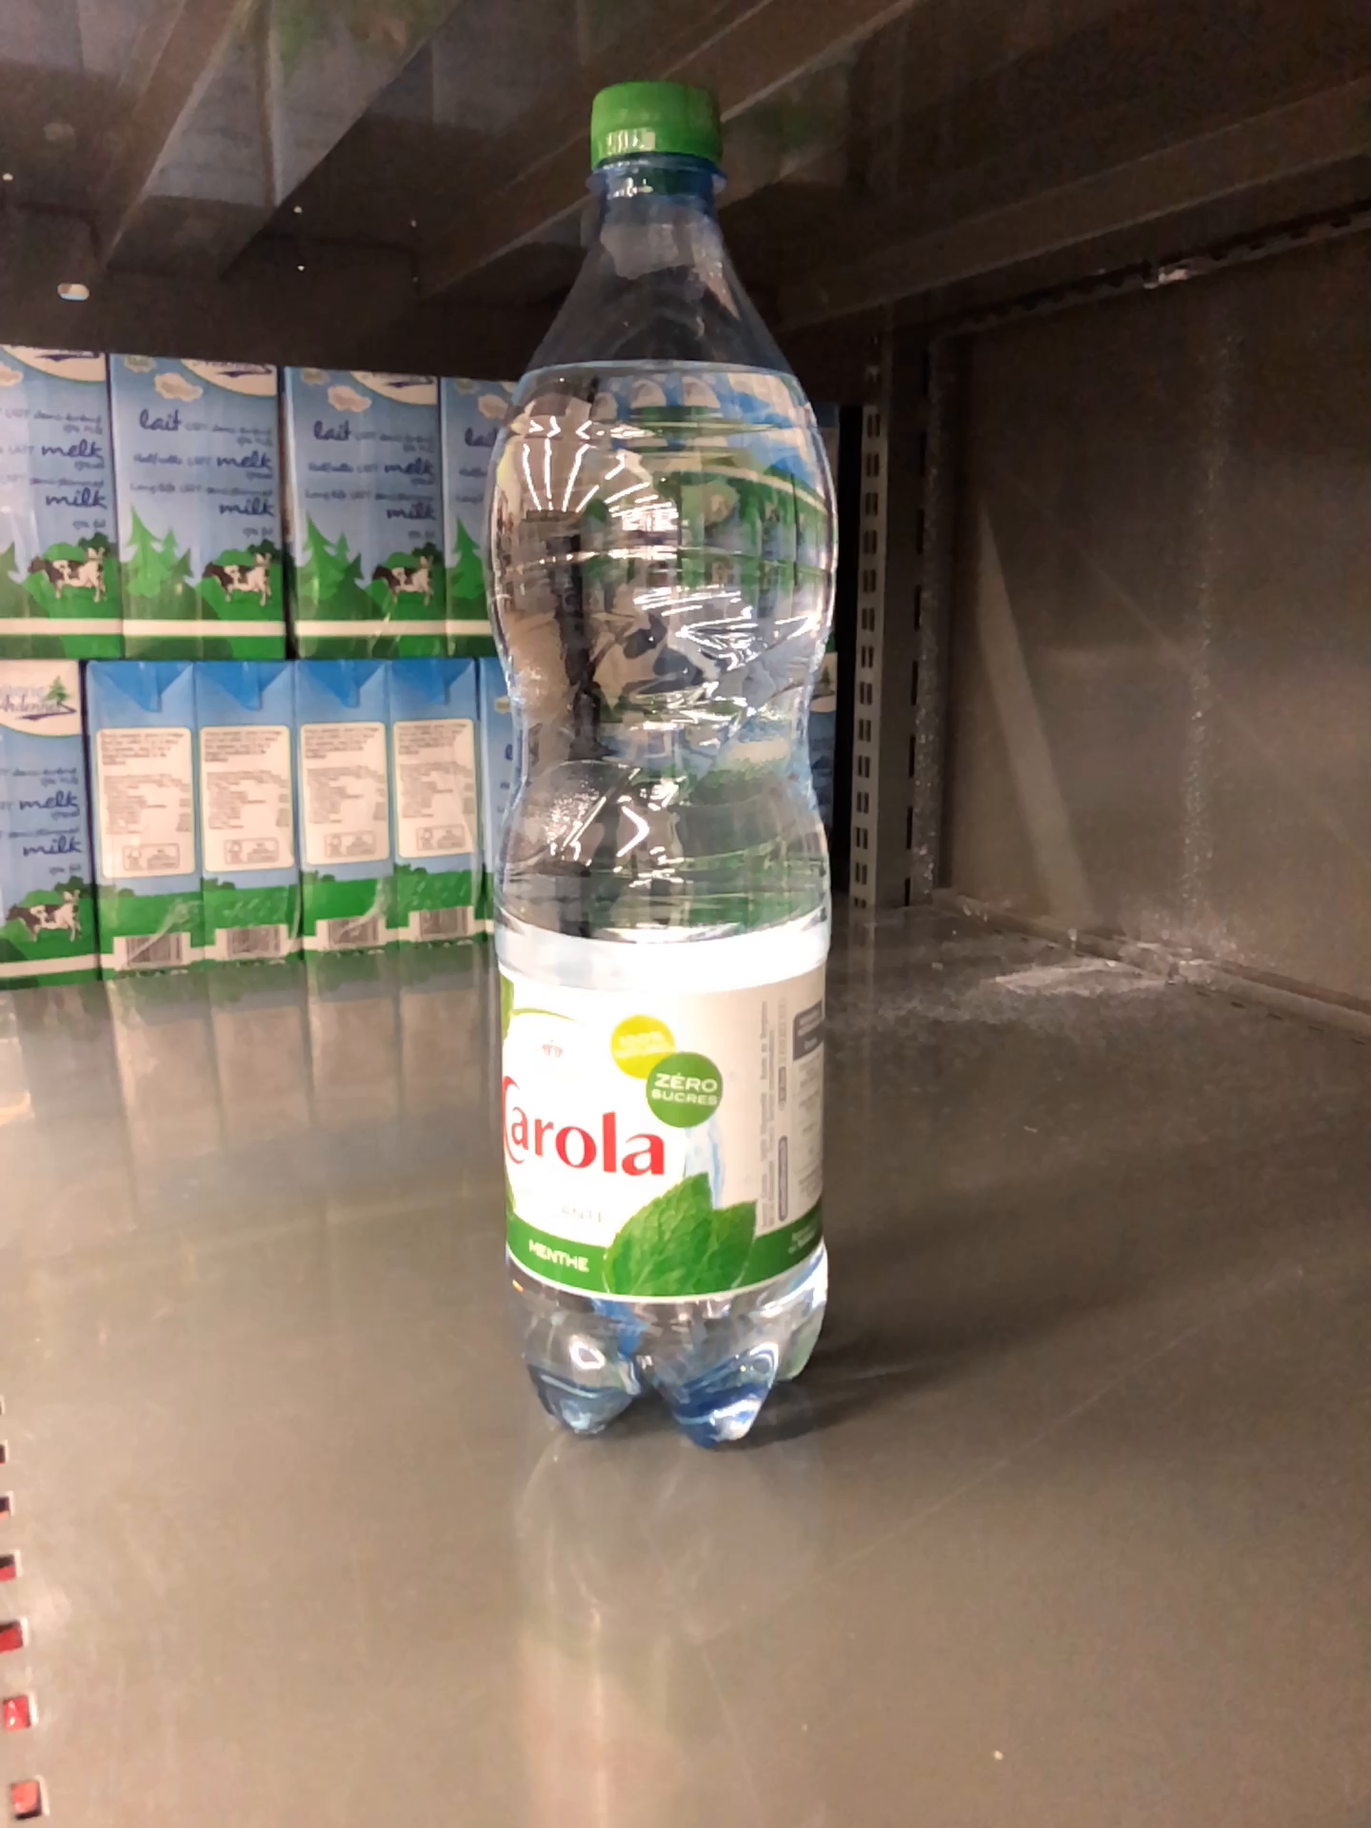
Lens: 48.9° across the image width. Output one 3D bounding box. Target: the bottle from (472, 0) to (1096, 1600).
[{"bbox_3d":[0.023,-0.030,0.371,0.100,0.339,0.100,0,10,0],"label":"bottle"}]
